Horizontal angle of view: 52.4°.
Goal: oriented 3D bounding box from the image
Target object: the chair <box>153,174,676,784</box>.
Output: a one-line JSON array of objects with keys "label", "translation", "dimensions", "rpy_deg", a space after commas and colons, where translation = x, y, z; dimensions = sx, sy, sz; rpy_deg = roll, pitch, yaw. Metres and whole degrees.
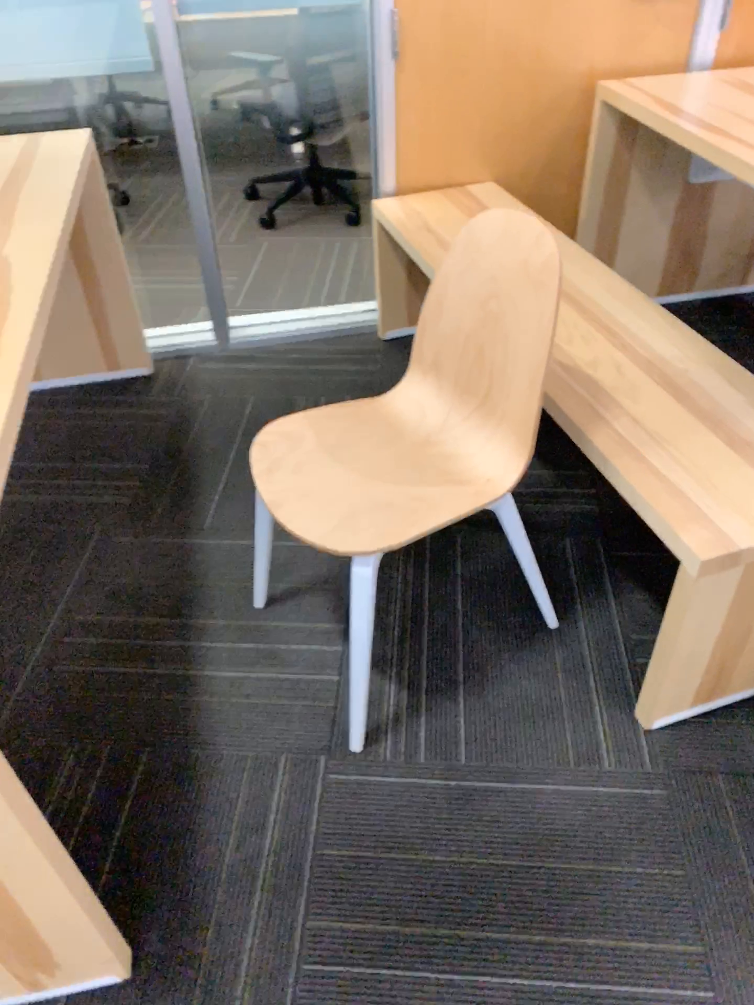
[{"label": "chair", "translation": [0.051, -0.053, 1.440], "dimensions": [0.601, 0.835, 0.543], "rpy_deg": [-23, 44, -22]}]
